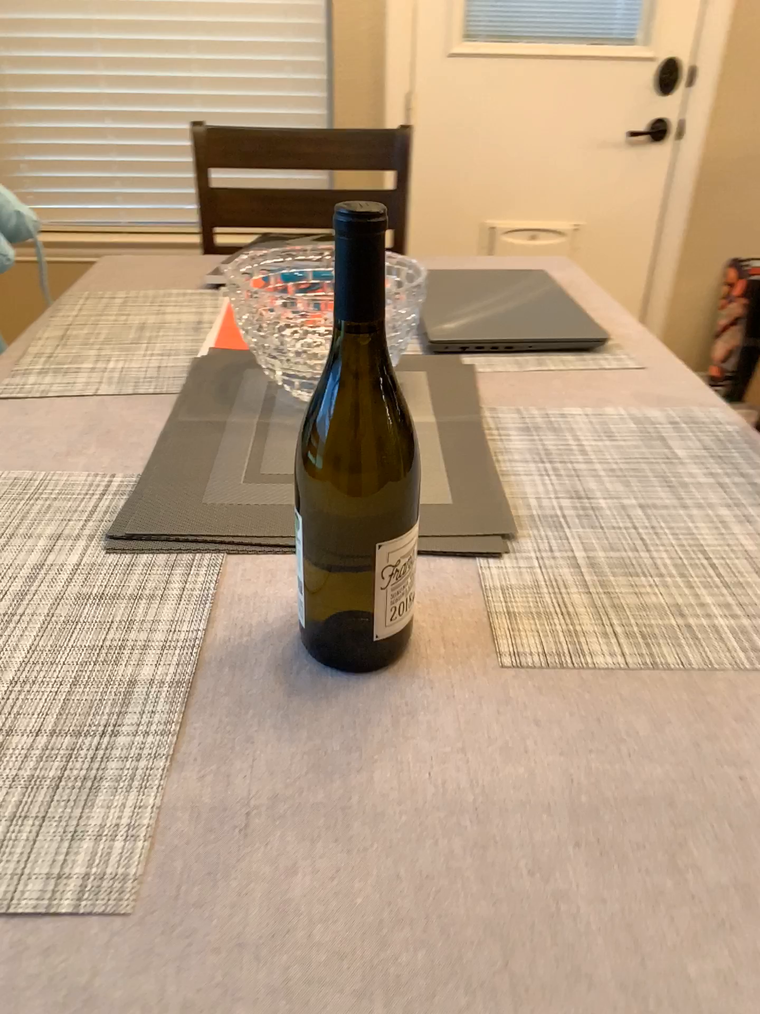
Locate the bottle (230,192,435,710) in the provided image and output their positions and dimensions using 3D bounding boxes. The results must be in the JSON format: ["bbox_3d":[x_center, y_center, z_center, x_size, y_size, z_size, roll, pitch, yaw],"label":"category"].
[{"bbox_3d":[-0.023,-0.024,0.464,0.080,0.288,0.090,8,31,11],"label":"bottle"}]
